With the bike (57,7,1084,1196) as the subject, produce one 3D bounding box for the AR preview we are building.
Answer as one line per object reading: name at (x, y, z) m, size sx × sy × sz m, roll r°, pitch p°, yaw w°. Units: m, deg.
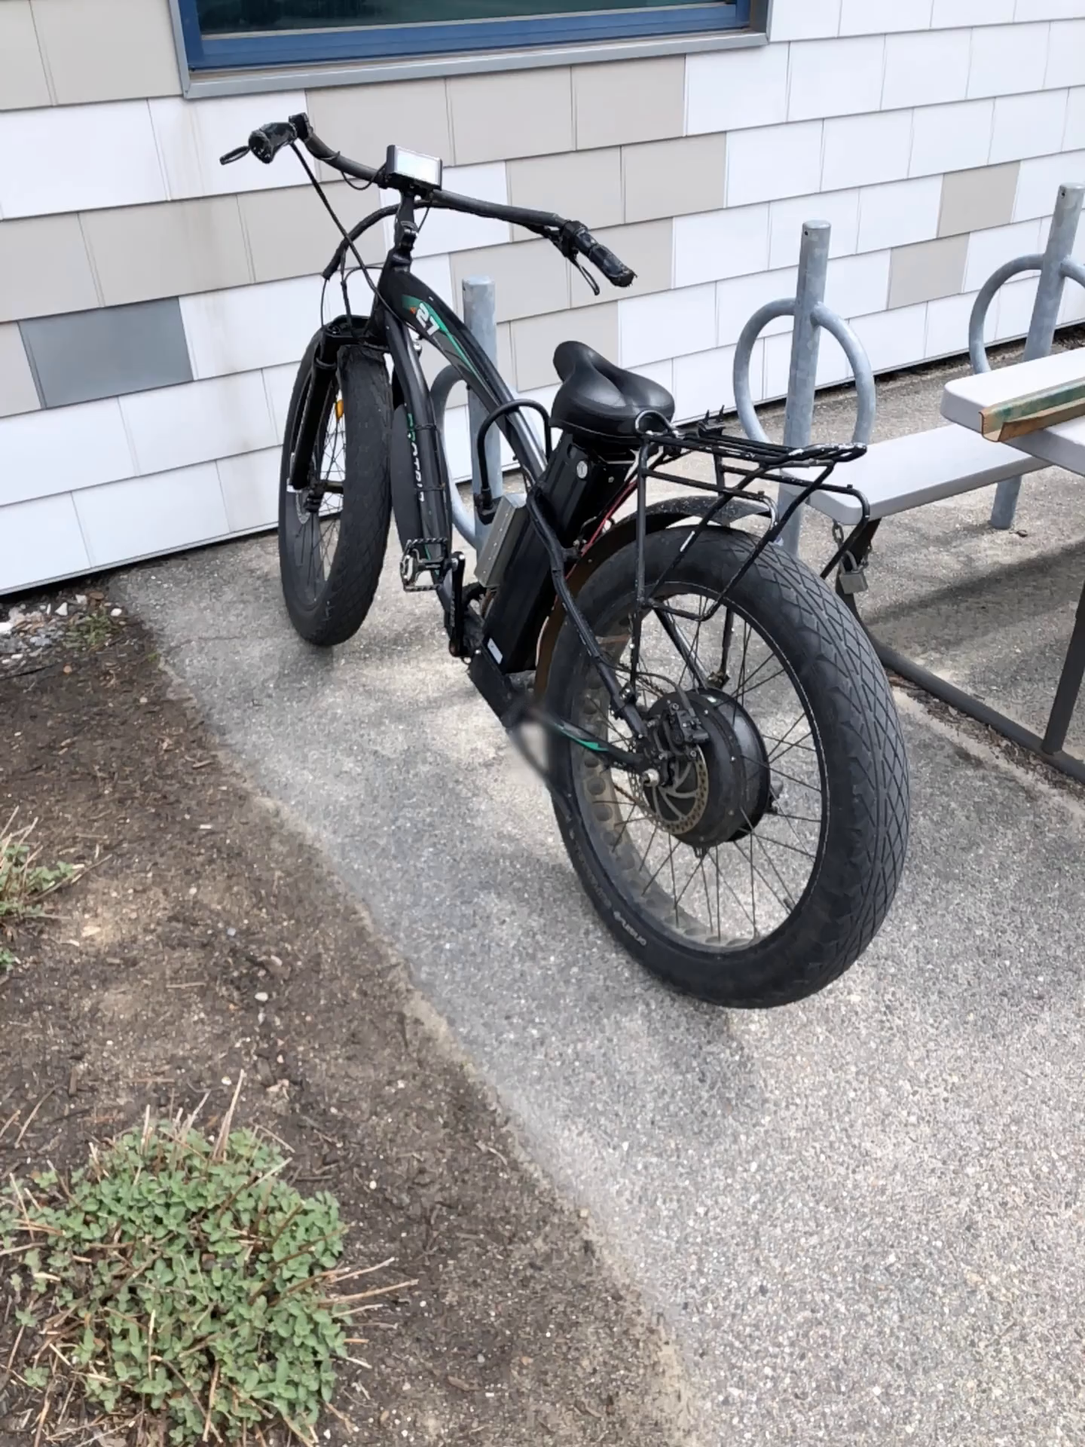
bike at (-0.005, -0.463, 2.106) m, size 0.913 × 1.131 × 1.866 m, roll -21°, pitch 42°, yaw -26°
